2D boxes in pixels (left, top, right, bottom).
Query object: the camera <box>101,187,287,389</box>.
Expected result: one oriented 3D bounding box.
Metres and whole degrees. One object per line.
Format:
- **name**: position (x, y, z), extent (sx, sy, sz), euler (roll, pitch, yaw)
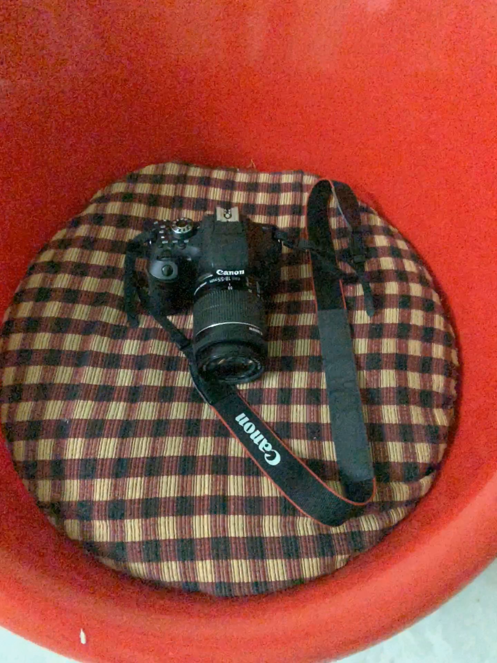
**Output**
- **camera**: position (-0.045, -0.035, 0.474), extent (0.140, 0.130, 0.138), euler (-1, 63, -3)
